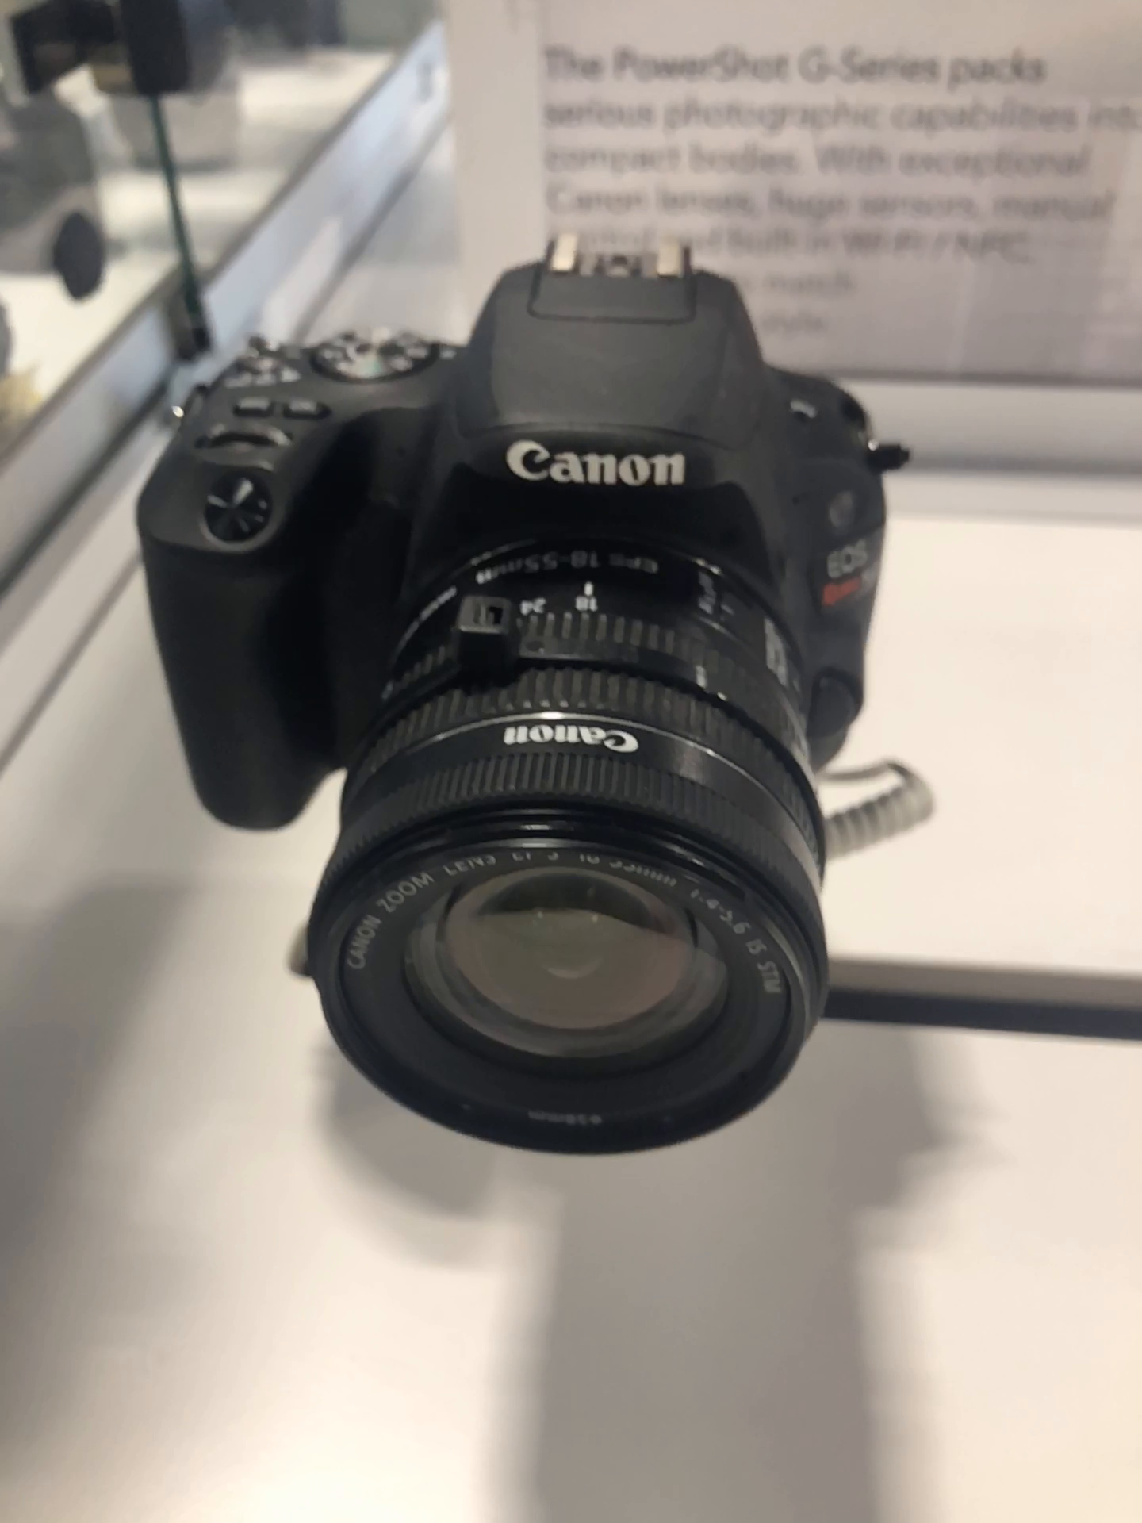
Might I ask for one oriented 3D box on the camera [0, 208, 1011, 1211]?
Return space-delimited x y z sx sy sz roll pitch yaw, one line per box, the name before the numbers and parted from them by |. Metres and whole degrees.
camera | -0.014 -0.014 0.196 0.122 0.099 0.111 3 41 5
